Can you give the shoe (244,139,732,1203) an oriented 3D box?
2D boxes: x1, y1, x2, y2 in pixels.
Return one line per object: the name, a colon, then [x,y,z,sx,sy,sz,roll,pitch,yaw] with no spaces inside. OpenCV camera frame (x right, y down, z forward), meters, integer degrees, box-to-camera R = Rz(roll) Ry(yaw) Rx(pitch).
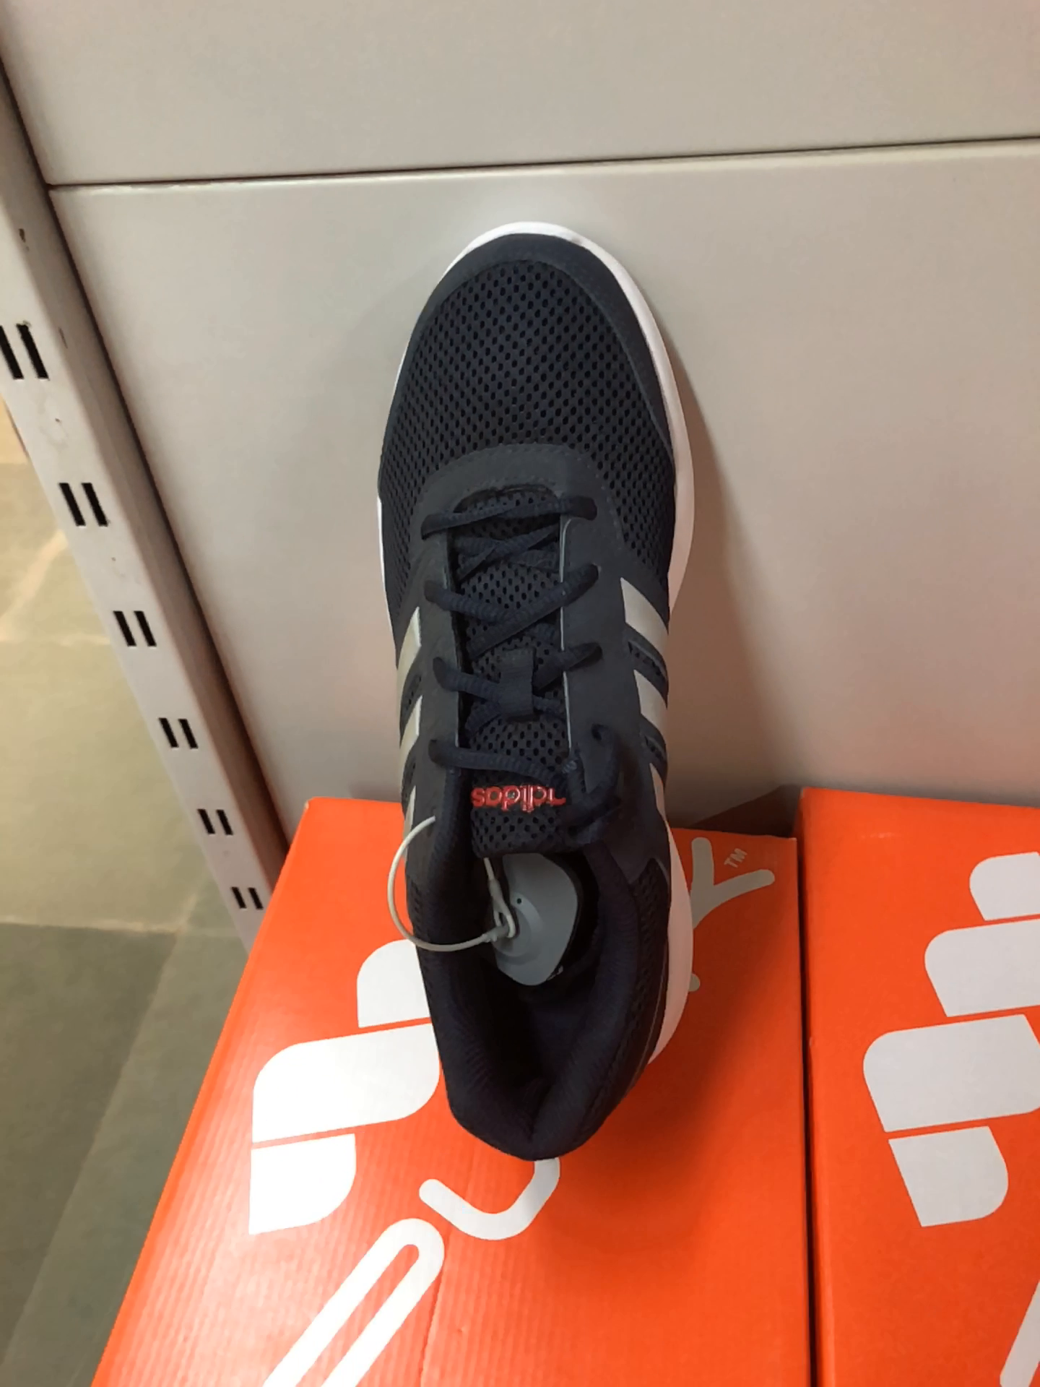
shoe: [-0.002,-0.003,0.350,0.110,0.271,0.088,-3,4,15]
